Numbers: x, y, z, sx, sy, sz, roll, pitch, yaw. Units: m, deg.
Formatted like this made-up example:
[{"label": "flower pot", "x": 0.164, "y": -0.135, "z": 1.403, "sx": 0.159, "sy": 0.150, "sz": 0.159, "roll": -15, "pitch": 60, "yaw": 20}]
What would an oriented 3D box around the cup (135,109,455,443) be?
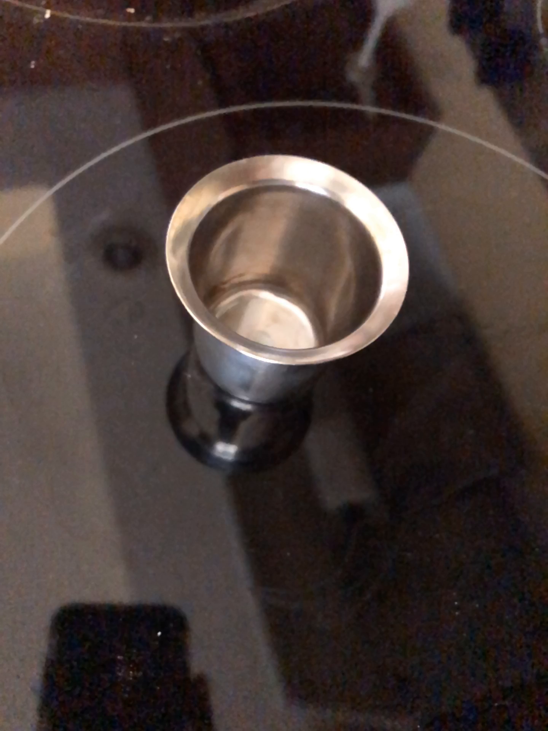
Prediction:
[{"label": "cup", "x": 0.003, "y": -0.021, "z": 0.177, "sx": 0.073, "sy": 0.056, "sz": 0.066, "roll": 4, "pitch": 66, "yaw": -9}]
